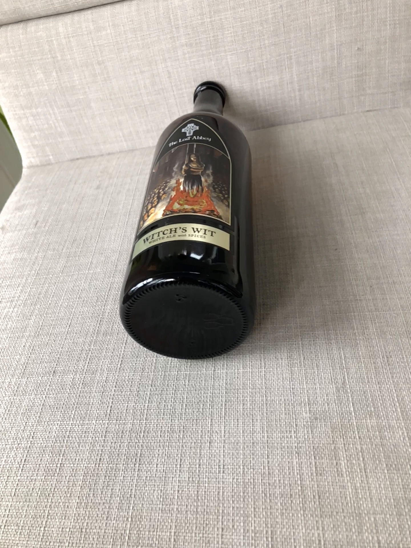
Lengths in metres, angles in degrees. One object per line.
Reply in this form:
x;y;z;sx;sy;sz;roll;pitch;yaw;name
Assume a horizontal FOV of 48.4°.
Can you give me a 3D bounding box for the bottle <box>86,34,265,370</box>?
-0.006;-0.075;0.343;0.080;0.079;0.283;-6;47;10;bottle
